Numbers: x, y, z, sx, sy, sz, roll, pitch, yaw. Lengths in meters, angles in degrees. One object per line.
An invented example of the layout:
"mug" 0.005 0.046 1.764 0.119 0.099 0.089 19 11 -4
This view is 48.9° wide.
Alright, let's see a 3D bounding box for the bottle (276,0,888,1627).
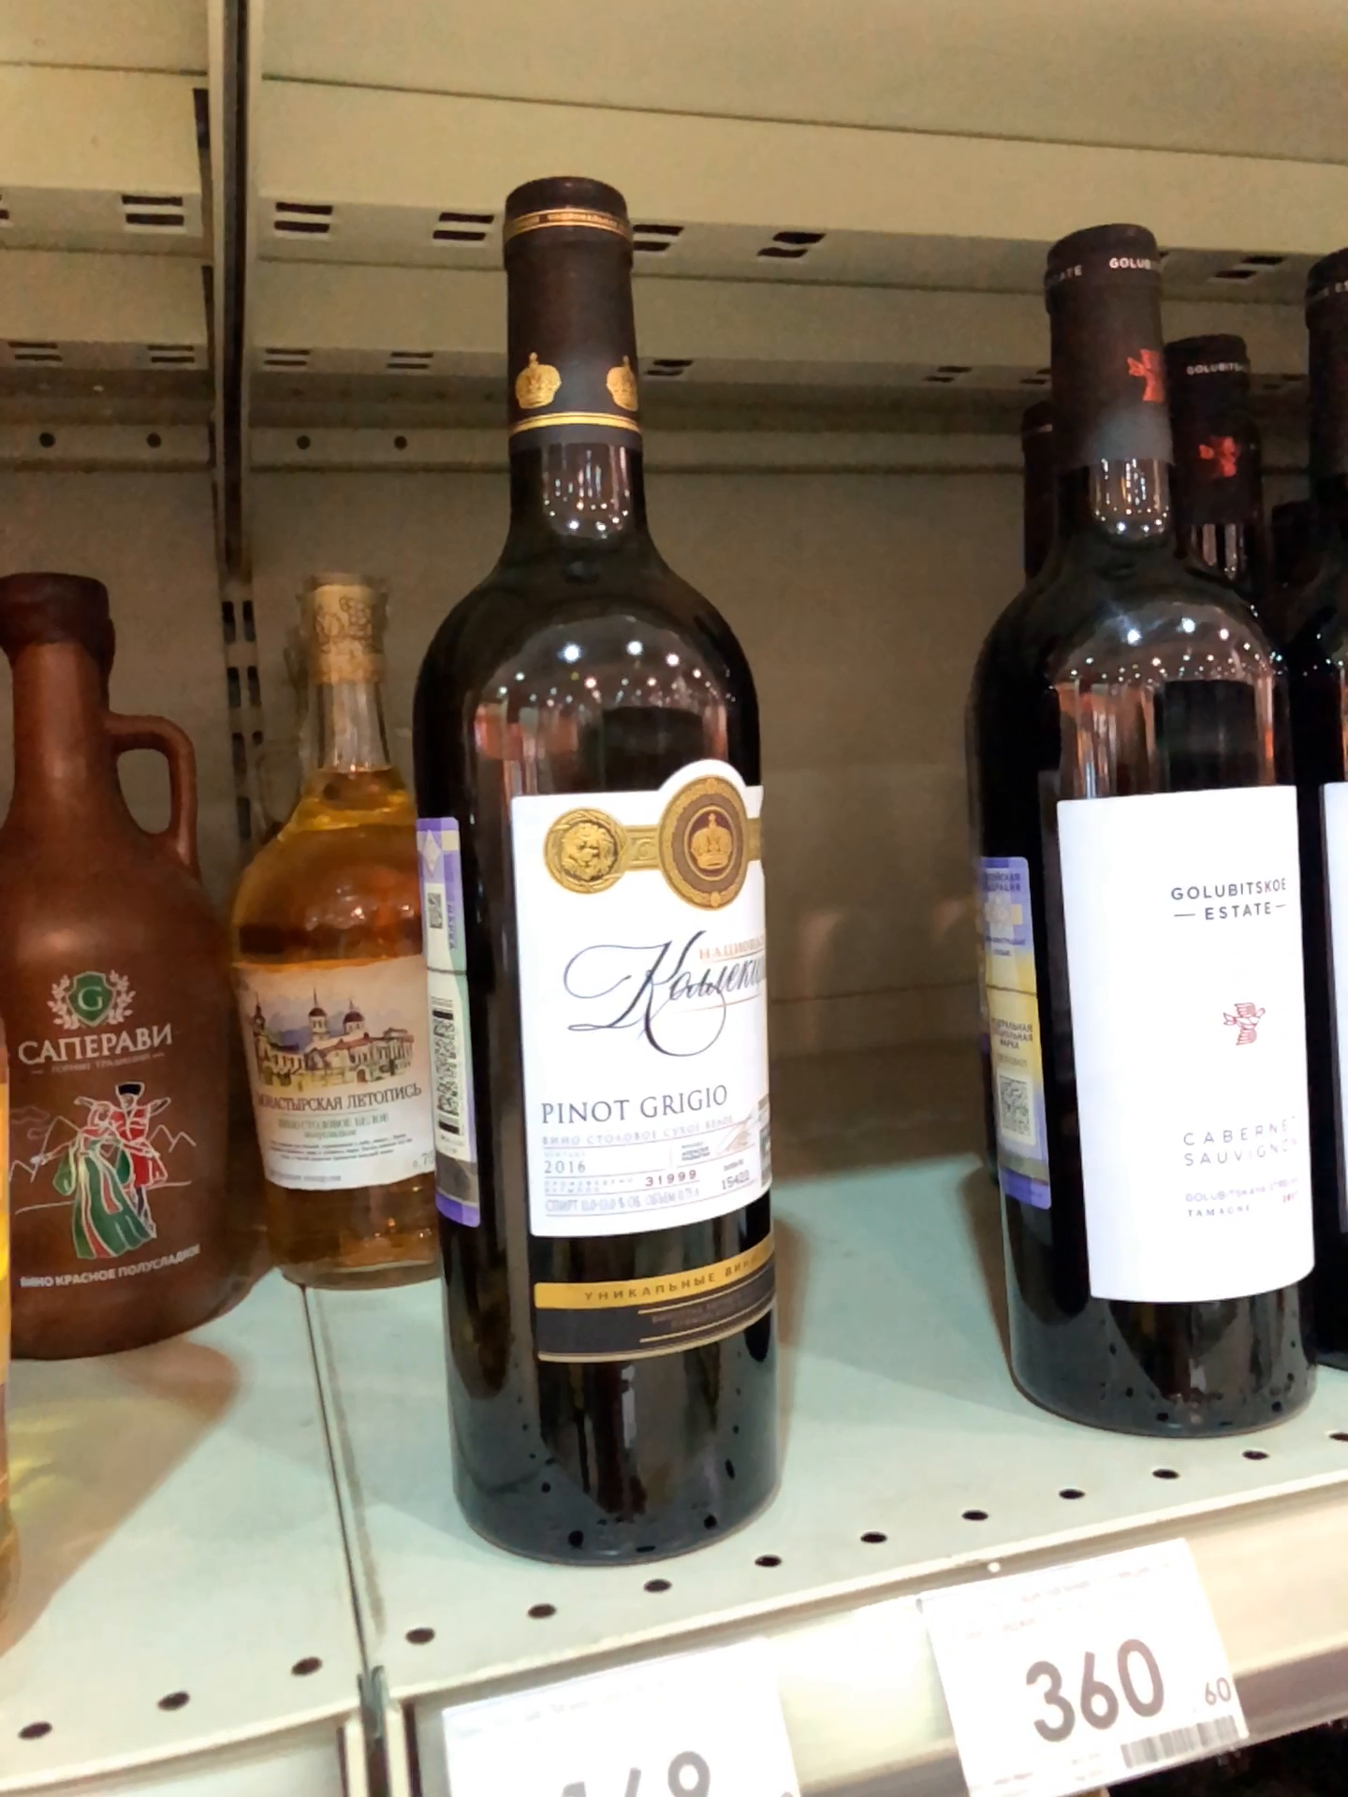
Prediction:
"bottle" -0.021 -0.018 0.353 0.090 0.320 0.090 -3 3 0
